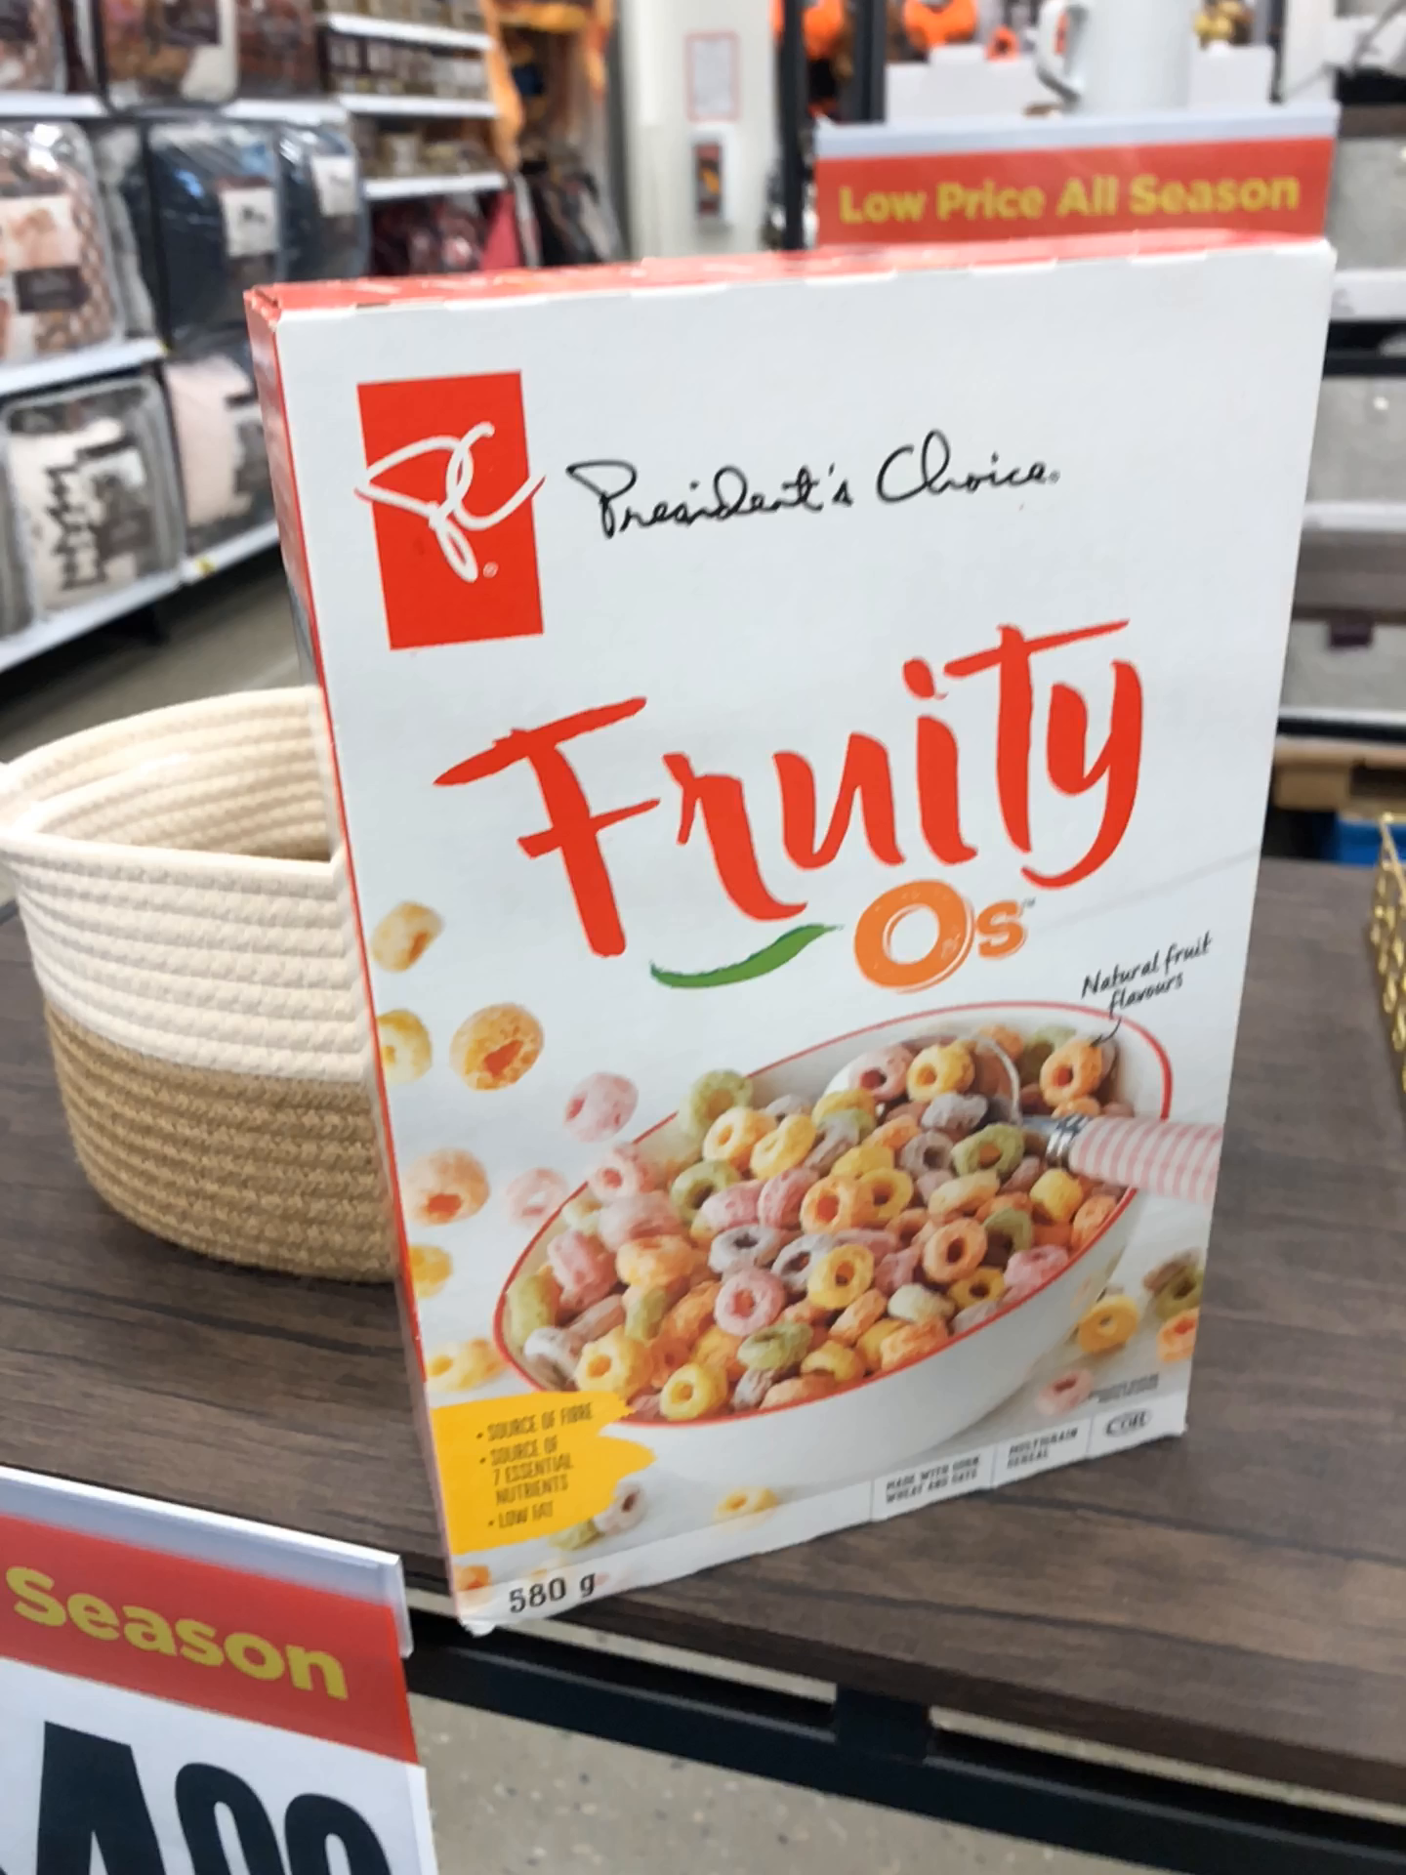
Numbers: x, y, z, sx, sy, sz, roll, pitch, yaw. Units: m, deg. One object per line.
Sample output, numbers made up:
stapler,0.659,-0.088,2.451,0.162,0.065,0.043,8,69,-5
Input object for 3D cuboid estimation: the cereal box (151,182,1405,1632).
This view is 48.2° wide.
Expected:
cereal box,0.020,-0.008,0.348,0.220,0.279,0.080,-10,27,-15
